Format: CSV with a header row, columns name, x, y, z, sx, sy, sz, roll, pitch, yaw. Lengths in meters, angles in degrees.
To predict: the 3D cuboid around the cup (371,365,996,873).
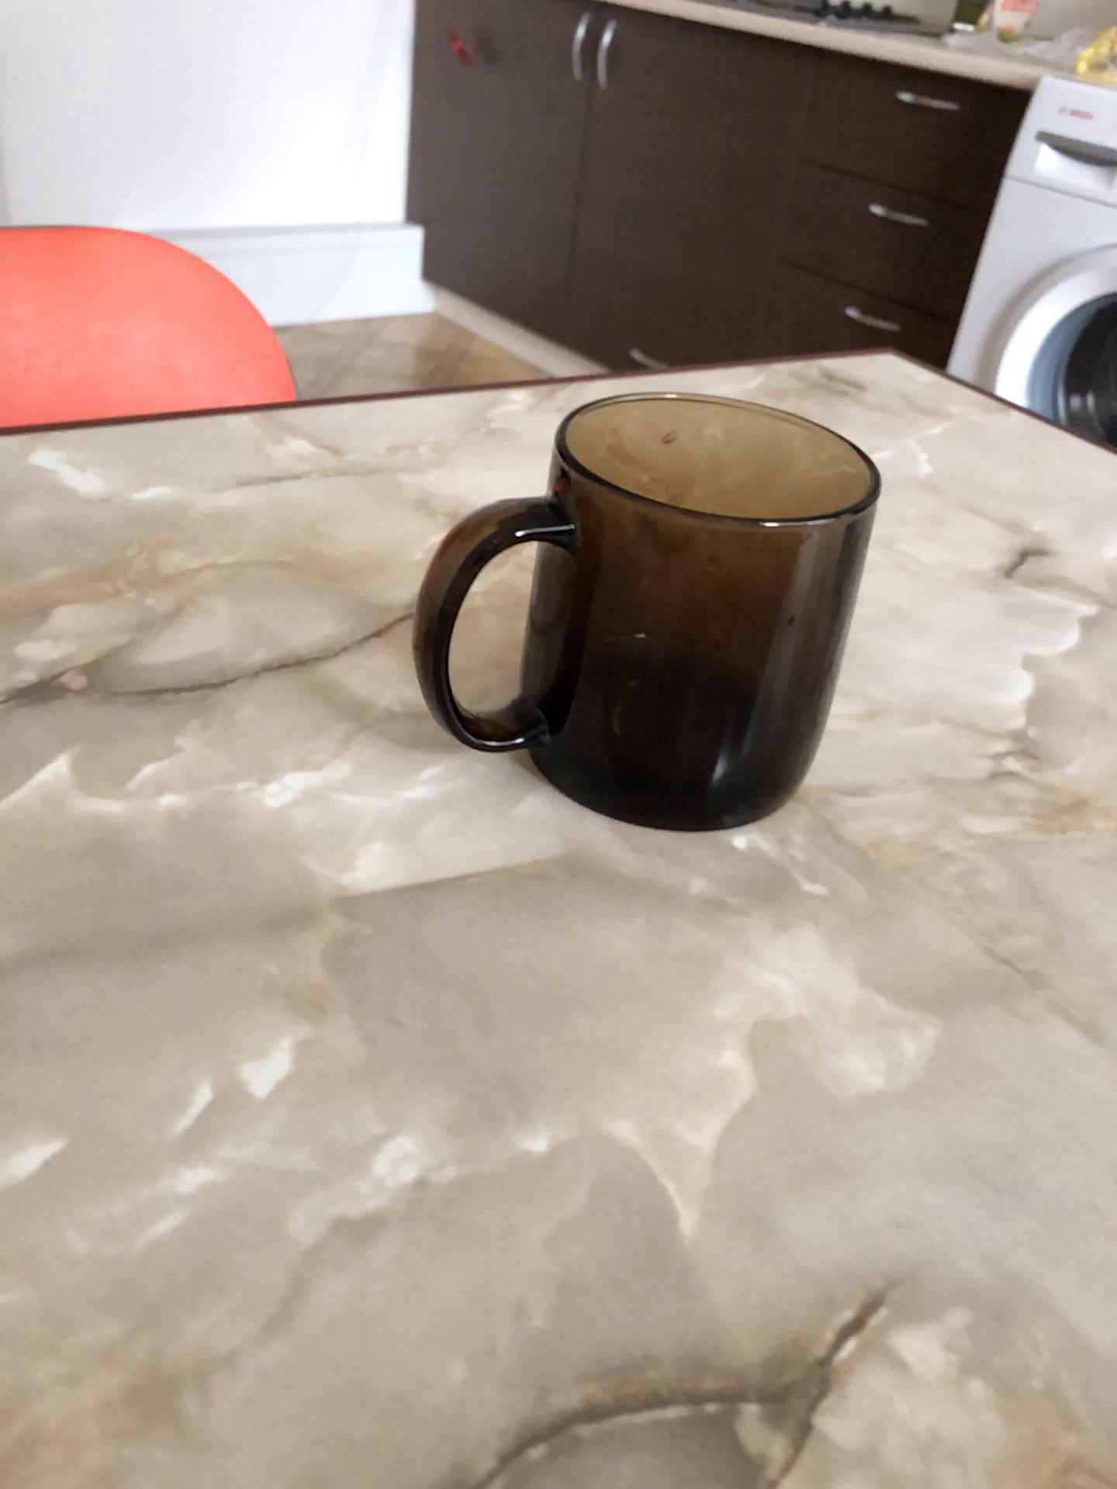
name,x,y,z,sx,sy,sz,roll,pitch,yaw
cup,0.023,-0.039,0.323,0.122,0.090,0.091,-7,37,-21
